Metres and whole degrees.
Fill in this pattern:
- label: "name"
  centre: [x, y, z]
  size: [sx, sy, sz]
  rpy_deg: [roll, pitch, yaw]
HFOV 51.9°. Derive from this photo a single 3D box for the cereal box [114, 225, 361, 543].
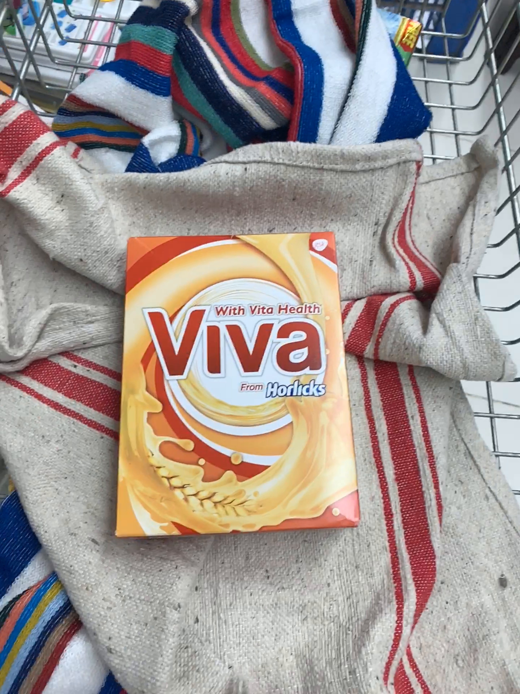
- label: "cereal box"
  centre: [-0.018, 0.023, 0.366]
  size: [0.140, 0.070, 0.200]
  rpy_deg: [-1, 72, -4]
